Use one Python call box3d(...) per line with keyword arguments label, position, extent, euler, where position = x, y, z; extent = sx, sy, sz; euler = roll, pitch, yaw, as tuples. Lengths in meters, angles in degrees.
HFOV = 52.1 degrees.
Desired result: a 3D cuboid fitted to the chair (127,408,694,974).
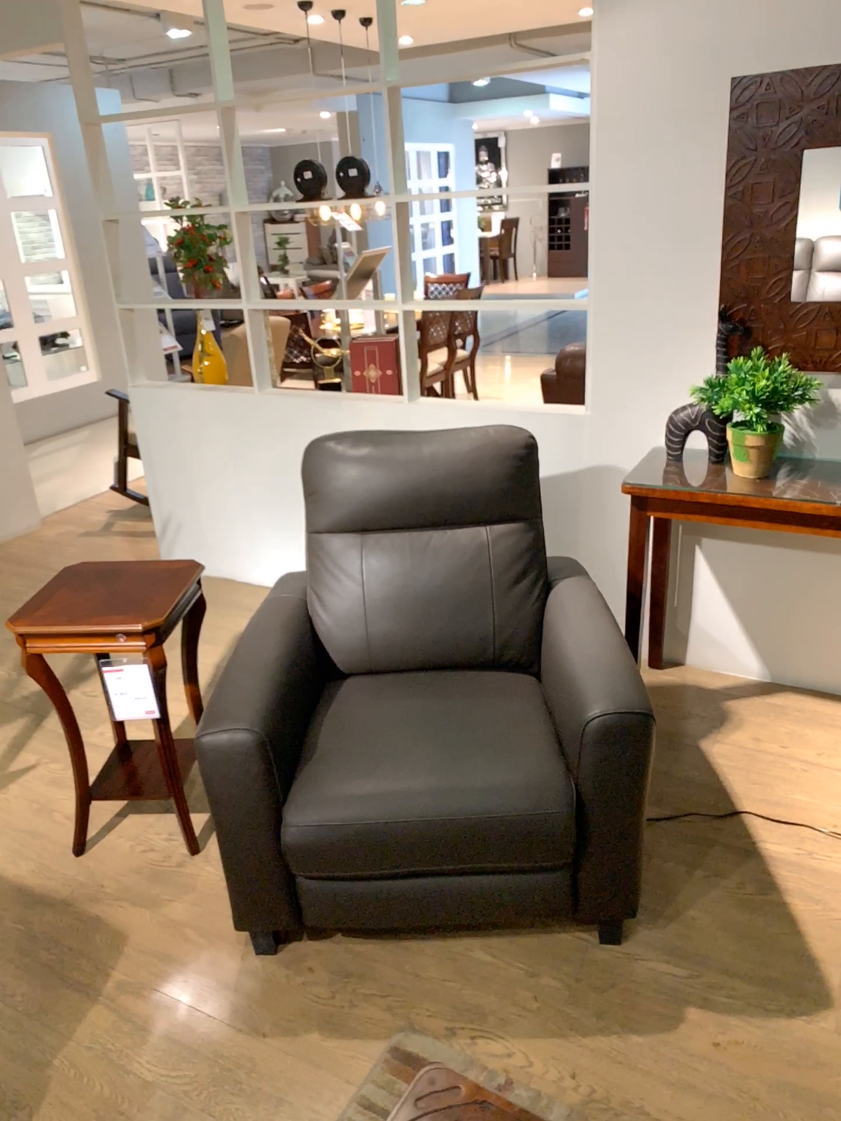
box3d(label="chair", position=(0.013, 0.232, 2.024), extent=(0.940, 0.926, 0.924), euler=(-3, 23, 2))
